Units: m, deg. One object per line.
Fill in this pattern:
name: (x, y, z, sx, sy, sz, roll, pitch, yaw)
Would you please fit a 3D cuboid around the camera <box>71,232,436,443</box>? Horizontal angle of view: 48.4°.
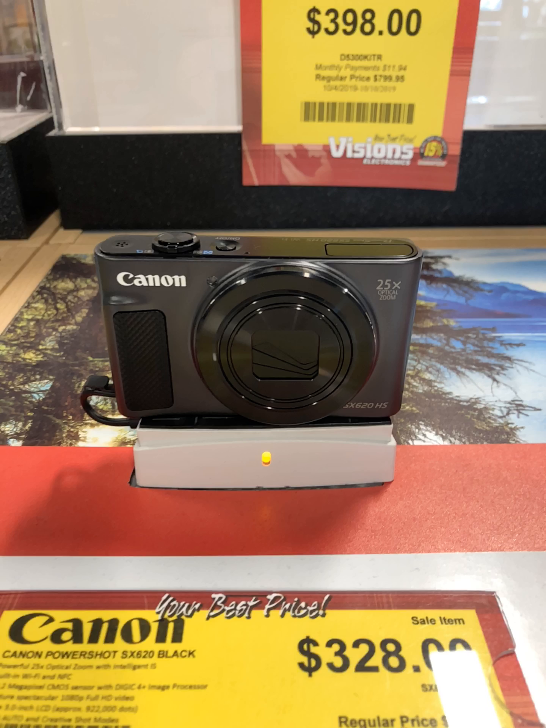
camera: (-0.005, -0.008, 0.195, 0.100, 0.060, 0.030, 0, 31, 1)
